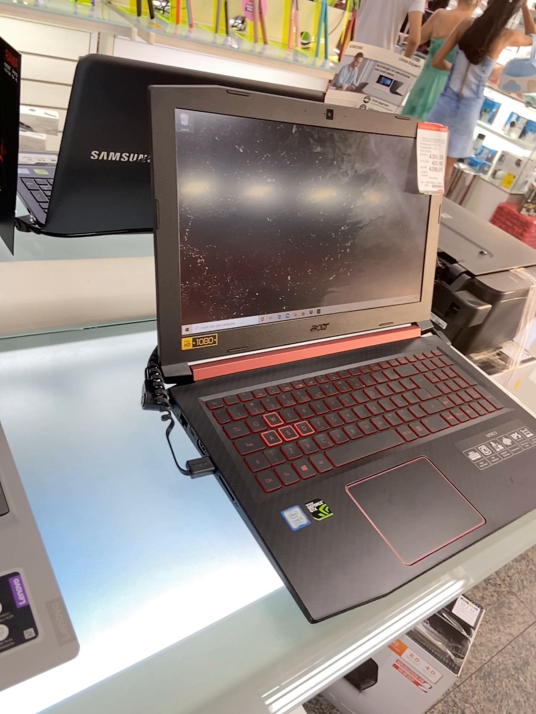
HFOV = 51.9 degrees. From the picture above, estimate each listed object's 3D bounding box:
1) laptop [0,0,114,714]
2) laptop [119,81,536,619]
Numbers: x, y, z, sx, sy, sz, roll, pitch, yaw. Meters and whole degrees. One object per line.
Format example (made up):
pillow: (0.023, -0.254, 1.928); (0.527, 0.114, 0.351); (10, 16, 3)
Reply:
laptop: (-0.312, -0.003, 0.239); (0.356, 0.225, 0.323); (-10, 44, -37)
laptop: (0.121, -0.057, 0.520); (0.389, 0.218, 0.361); (-10, 45, -35)
